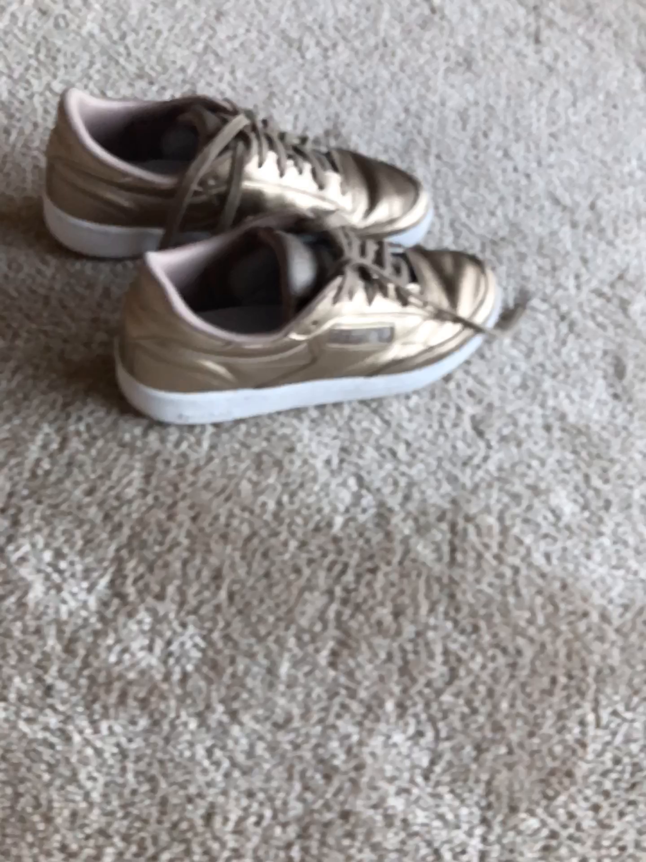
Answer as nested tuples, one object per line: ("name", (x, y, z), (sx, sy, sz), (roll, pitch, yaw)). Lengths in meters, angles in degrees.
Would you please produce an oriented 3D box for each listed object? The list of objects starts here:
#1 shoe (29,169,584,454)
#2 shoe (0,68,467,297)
("shoe", (-0.007, -0.077, 0.416), (0.280, 0.070, 0.110), (-10, 63, -20))
("shoe", (-0.063, -0.157, 0.466), (0.280, 0.070, 0.110), (-6, 62, -18))
